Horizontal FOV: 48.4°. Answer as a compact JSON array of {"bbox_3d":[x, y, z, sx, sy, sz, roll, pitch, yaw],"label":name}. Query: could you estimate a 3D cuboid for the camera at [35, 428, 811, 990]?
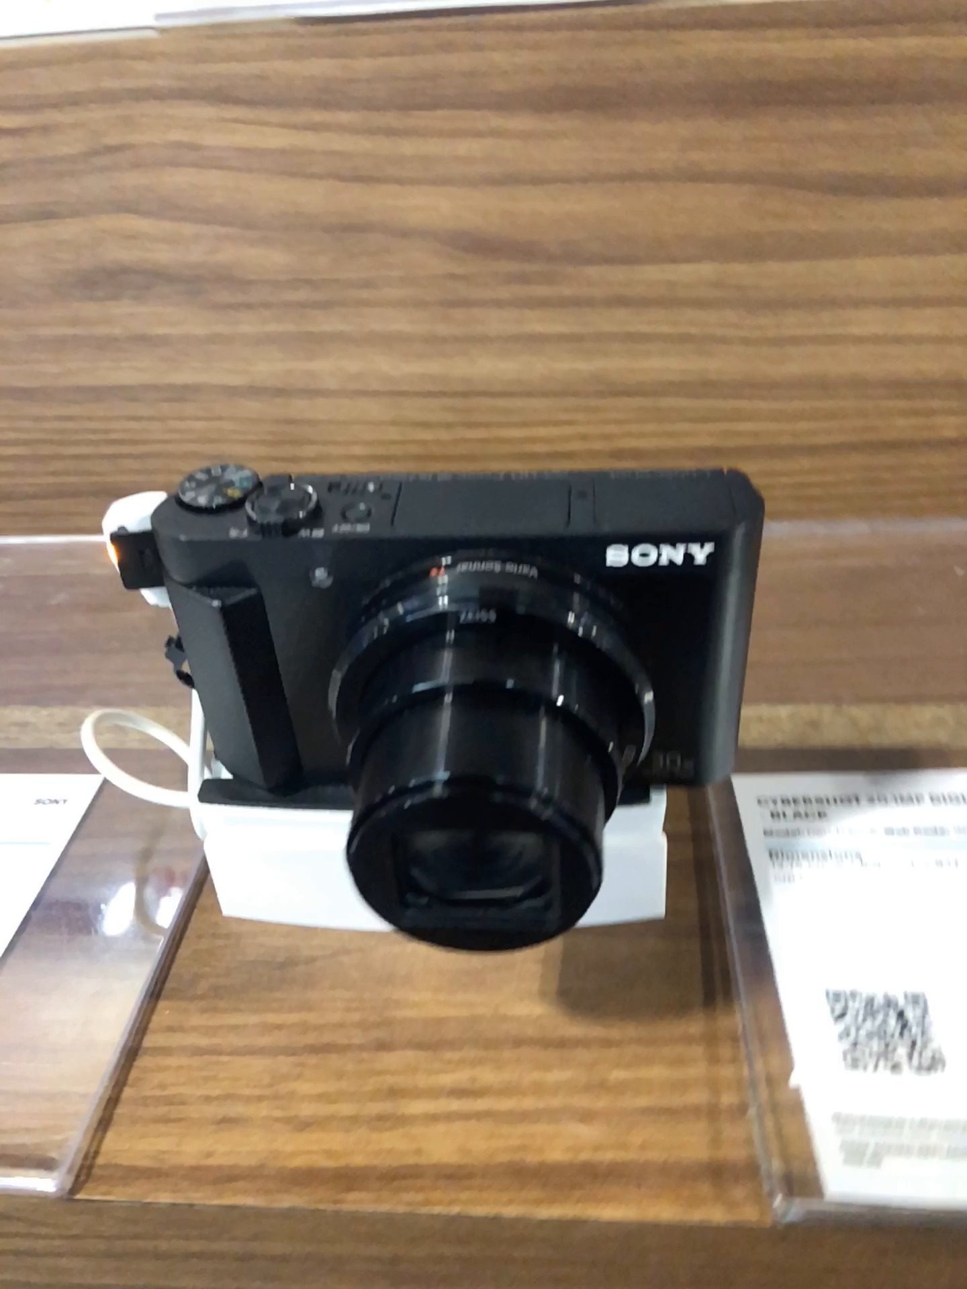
[{"bbox_3d":[-0.005,0.009,0.181,0.100,0.070,0.060,0,30,5],"label":"camera"}]
